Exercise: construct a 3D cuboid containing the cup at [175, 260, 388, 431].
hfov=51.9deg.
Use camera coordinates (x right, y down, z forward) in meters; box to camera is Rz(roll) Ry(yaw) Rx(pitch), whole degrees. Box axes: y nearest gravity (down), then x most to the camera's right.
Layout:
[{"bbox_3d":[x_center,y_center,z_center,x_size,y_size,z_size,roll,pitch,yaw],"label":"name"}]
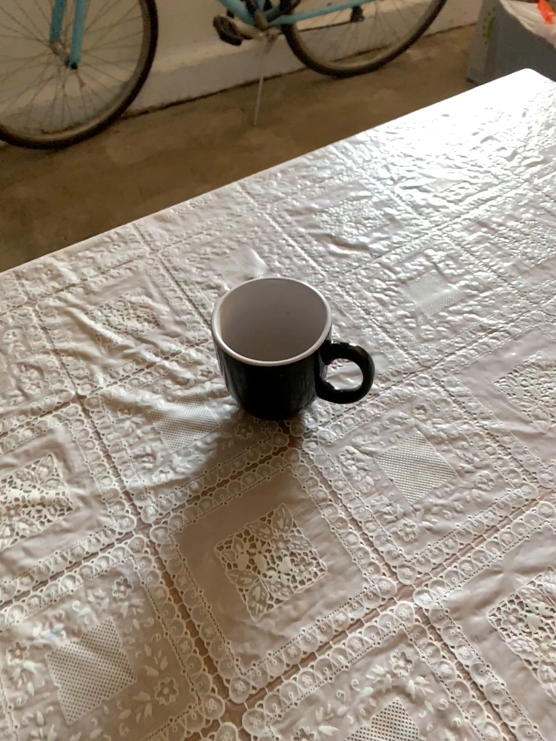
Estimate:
[{"bbox_3d":[0.013,-0.047,0.980,0.320,0.189,0.180,7,39,7],"label":"cup"}]
